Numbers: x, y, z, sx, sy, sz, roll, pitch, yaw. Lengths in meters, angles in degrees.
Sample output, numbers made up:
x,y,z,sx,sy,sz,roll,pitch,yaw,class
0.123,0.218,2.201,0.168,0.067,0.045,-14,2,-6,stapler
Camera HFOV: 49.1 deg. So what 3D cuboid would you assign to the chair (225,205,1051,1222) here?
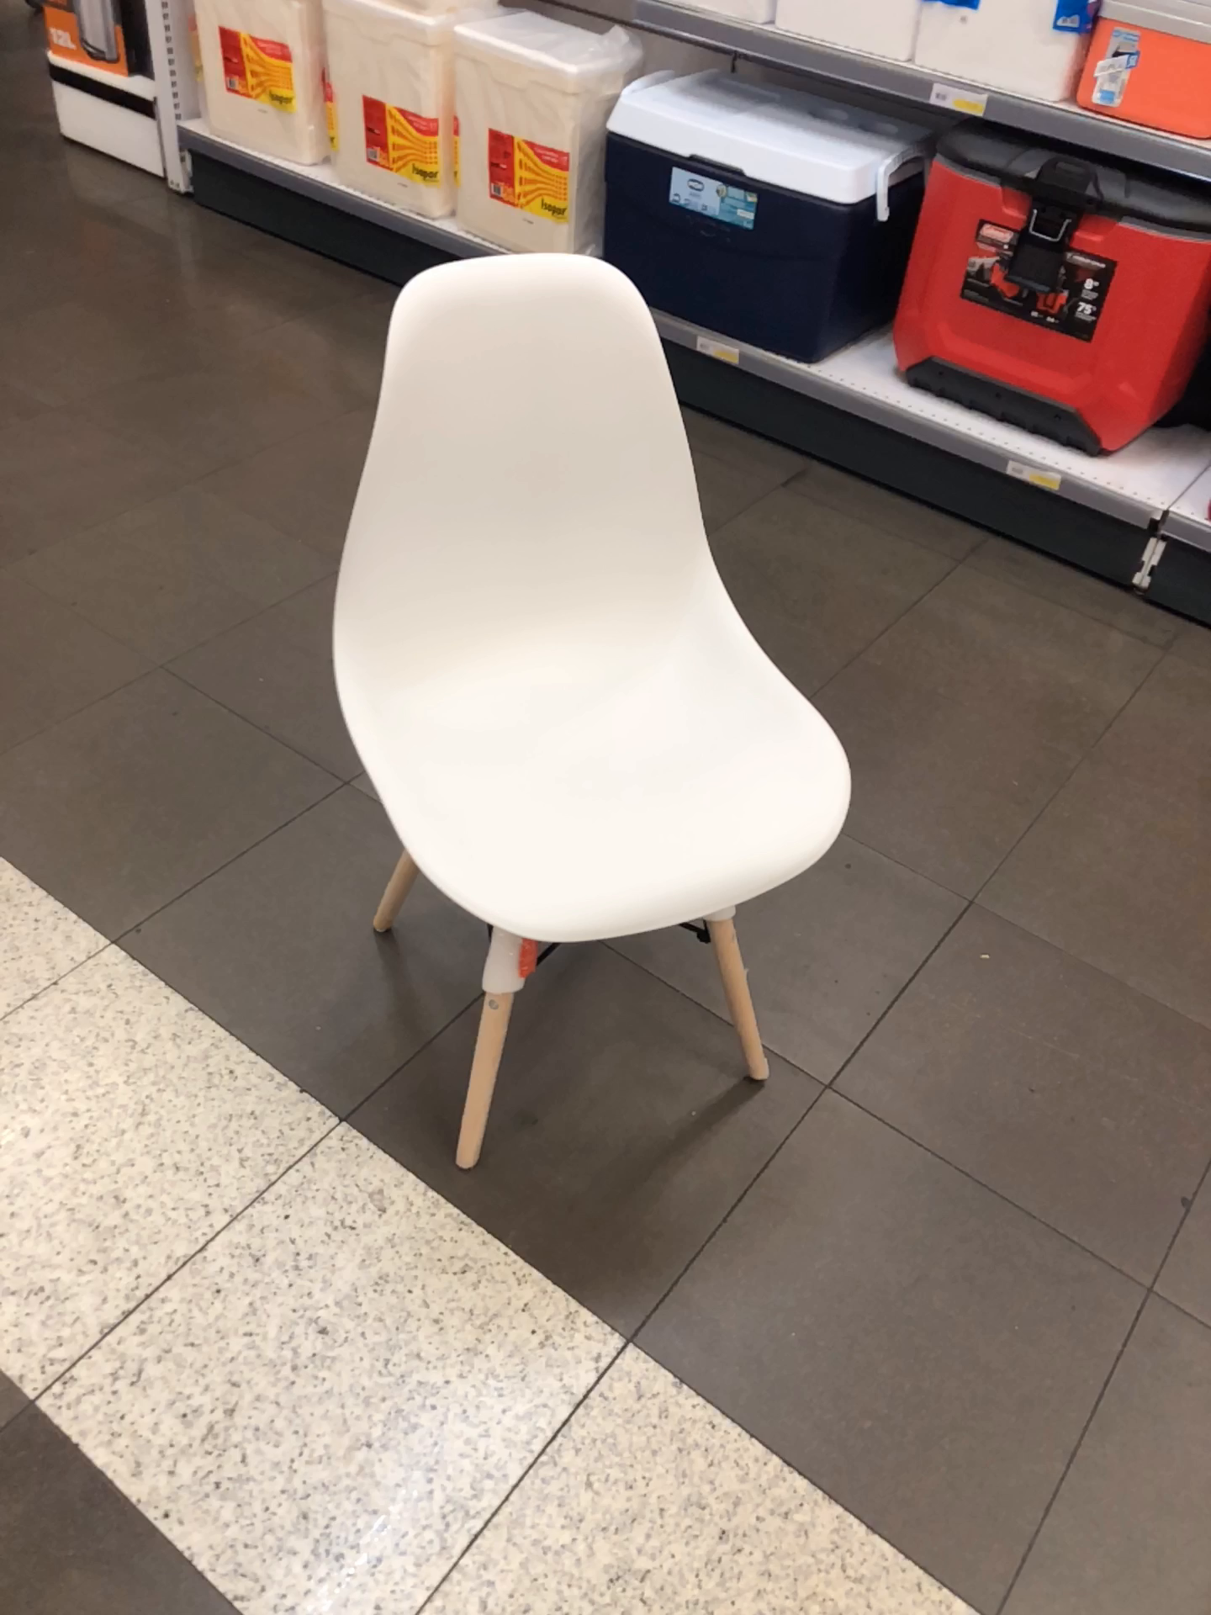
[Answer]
x,y,z,sx,sy,sz,roll,pitch,yaw,class
-0.038,-0.096,1.345,0.521,0.794,0.543,-10,44,-17,chair
